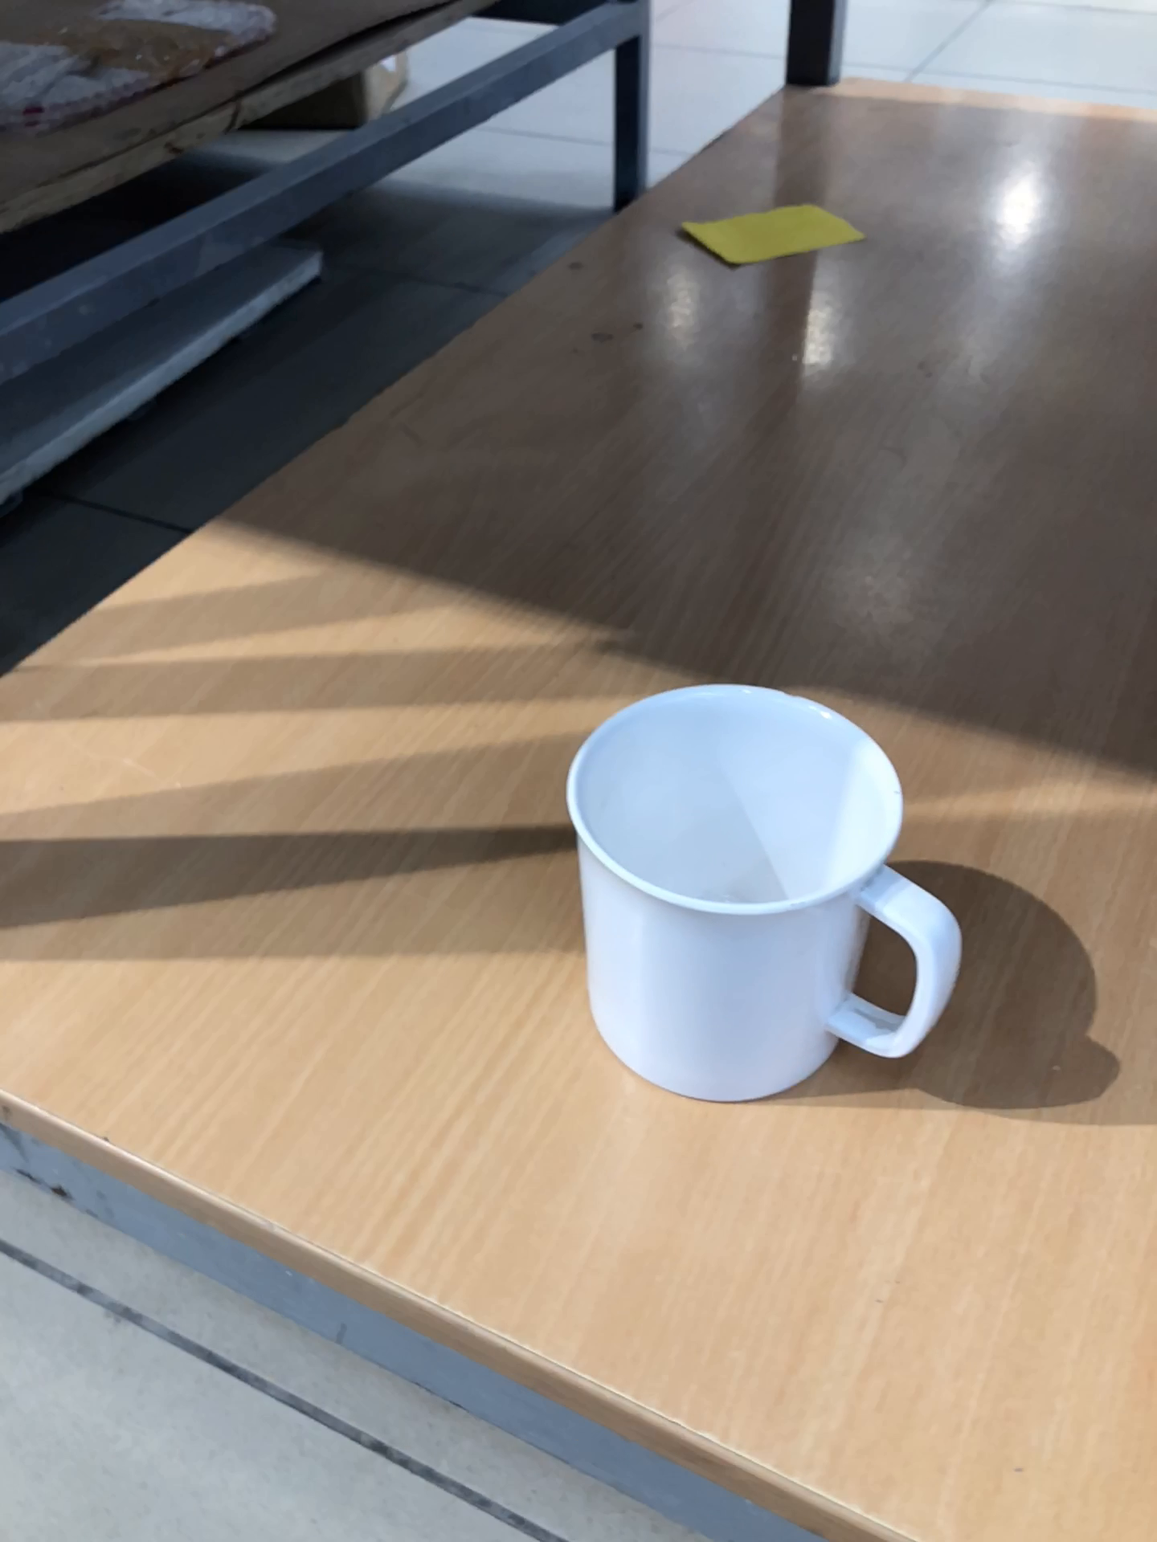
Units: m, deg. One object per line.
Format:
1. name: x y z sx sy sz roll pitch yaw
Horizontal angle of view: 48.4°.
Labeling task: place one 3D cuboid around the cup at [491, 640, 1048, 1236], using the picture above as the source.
1. cup: 0.047 0.040 0.346 0.110 0.089 0.080 30 50 31
